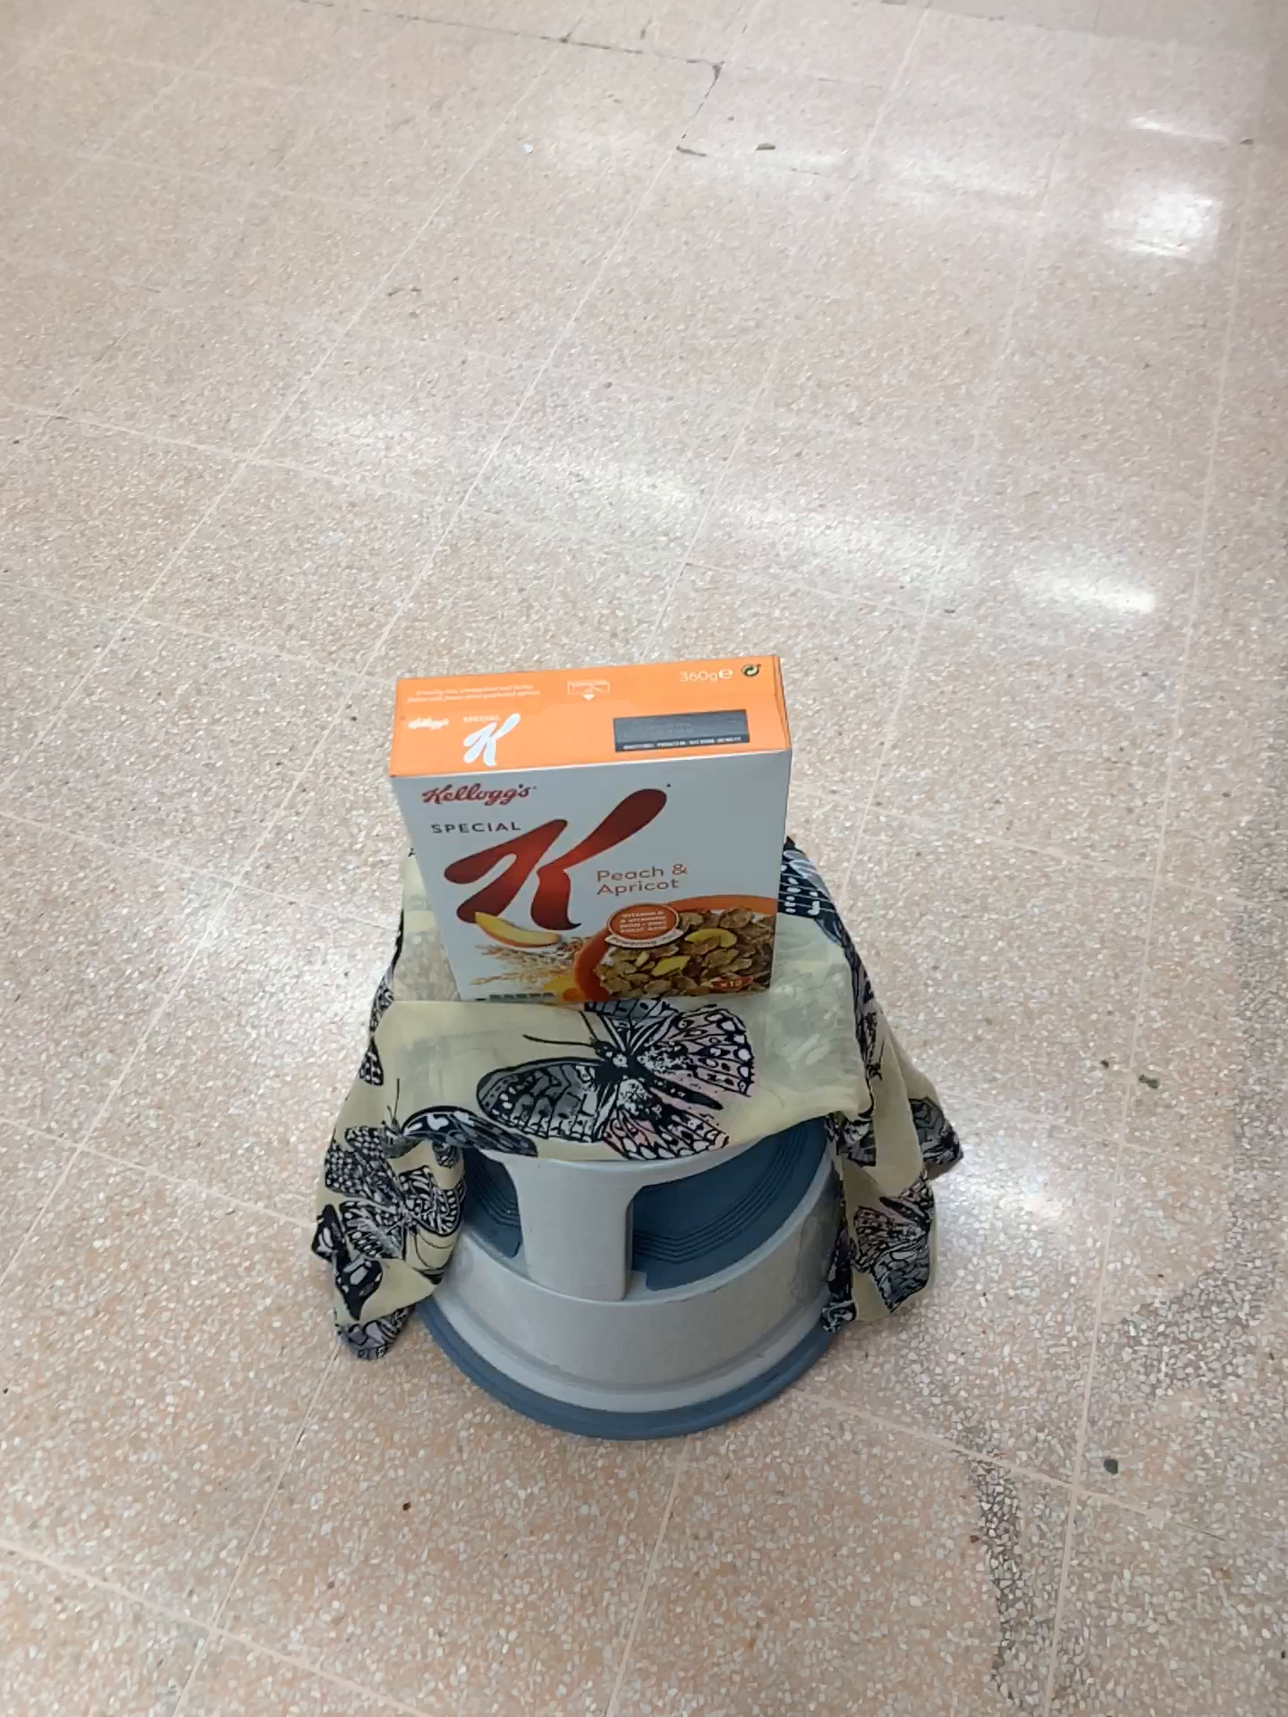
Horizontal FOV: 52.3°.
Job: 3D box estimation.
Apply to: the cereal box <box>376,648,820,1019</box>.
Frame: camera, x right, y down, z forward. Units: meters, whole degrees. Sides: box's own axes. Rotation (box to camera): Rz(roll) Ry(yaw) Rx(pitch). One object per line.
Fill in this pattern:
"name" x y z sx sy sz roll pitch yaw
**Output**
"cereal box" -0.021 -0.001 0.749 0.210 0.268 0.060 -3 57 -1
